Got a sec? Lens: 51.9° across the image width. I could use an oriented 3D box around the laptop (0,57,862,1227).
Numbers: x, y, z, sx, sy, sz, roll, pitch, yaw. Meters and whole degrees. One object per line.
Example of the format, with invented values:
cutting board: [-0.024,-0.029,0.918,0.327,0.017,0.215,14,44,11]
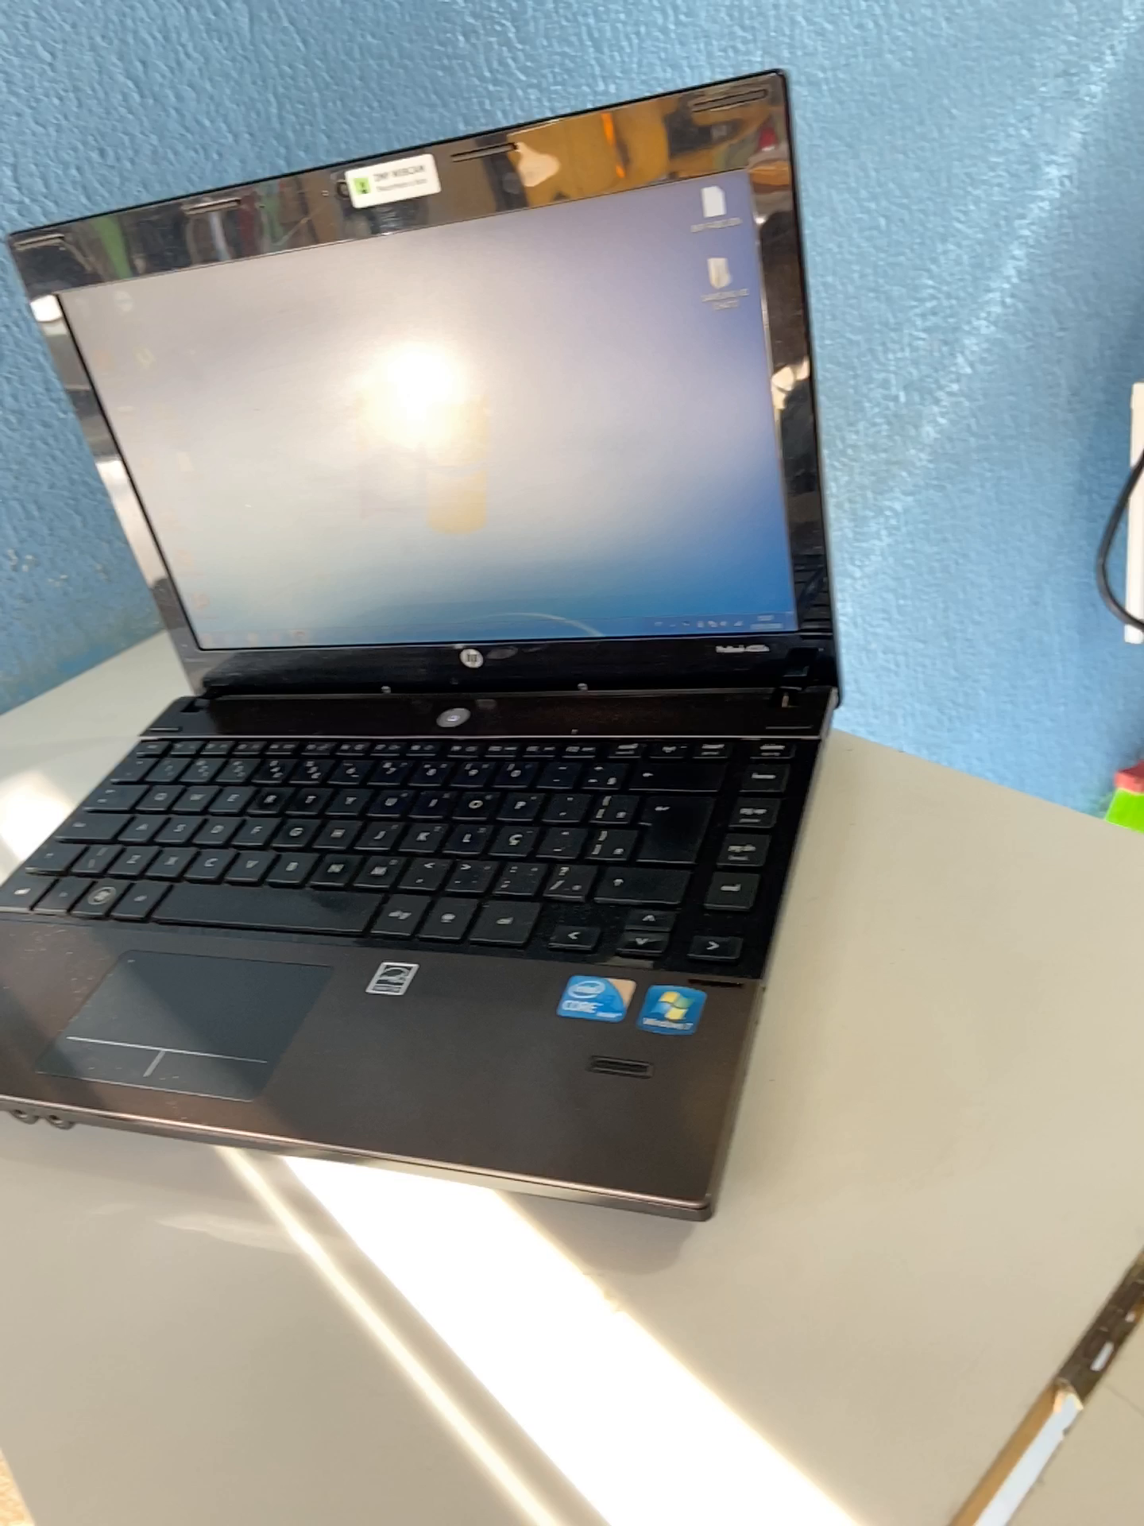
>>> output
laptop: [-0.098,-0.053,0.389,0.321,0.207,0.260,0,37,24]
